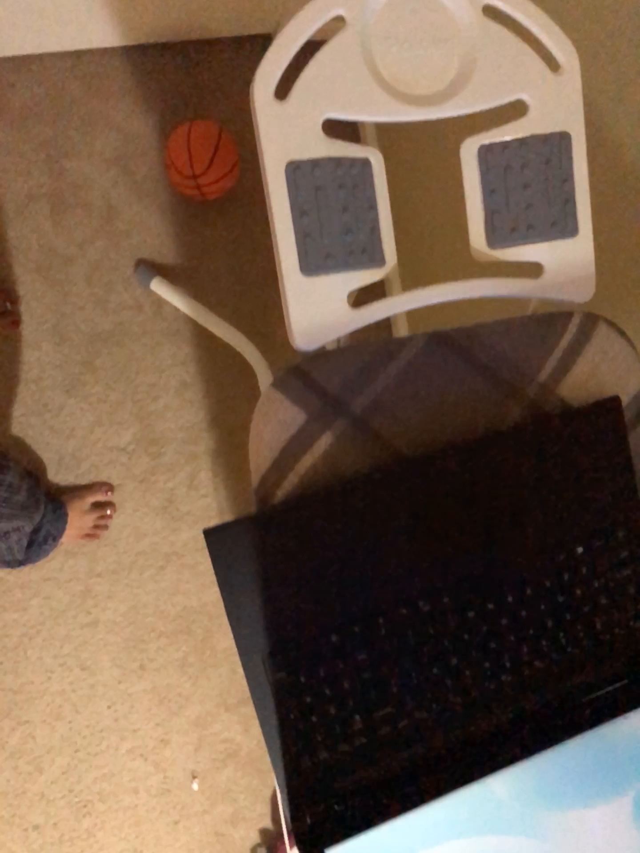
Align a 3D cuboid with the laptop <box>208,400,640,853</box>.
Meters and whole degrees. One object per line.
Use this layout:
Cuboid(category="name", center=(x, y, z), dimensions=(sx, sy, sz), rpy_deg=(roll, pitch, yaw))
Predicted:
Cuboid(category="laptop", center=(0.144, 0.156, 0.451), dimensions=(0.352, 0.232, 0.247), rpy_deg=(-17, 99, -13))
